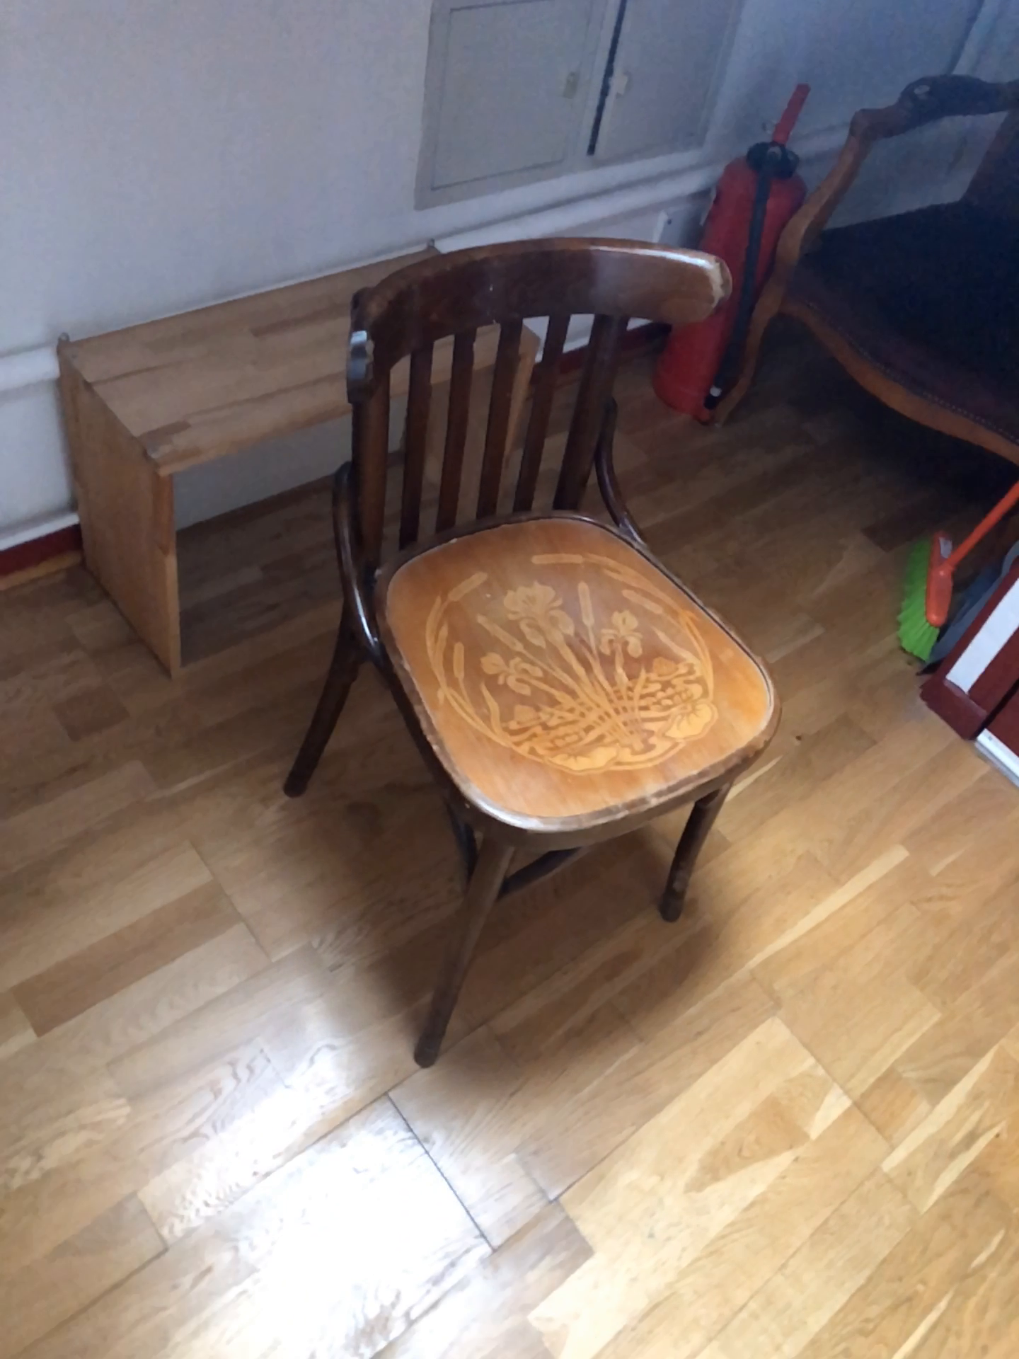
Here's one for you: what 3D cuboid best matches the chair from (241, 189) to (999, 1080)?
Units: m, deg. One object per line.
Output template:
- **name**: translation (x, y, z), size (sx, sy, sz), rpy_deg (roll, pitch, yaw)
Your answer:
- **chair**: translation (0.025, -0.017, 1.139), size (0.444, 0.737, 0.412), rpy_deg (-22, 59, -29)
